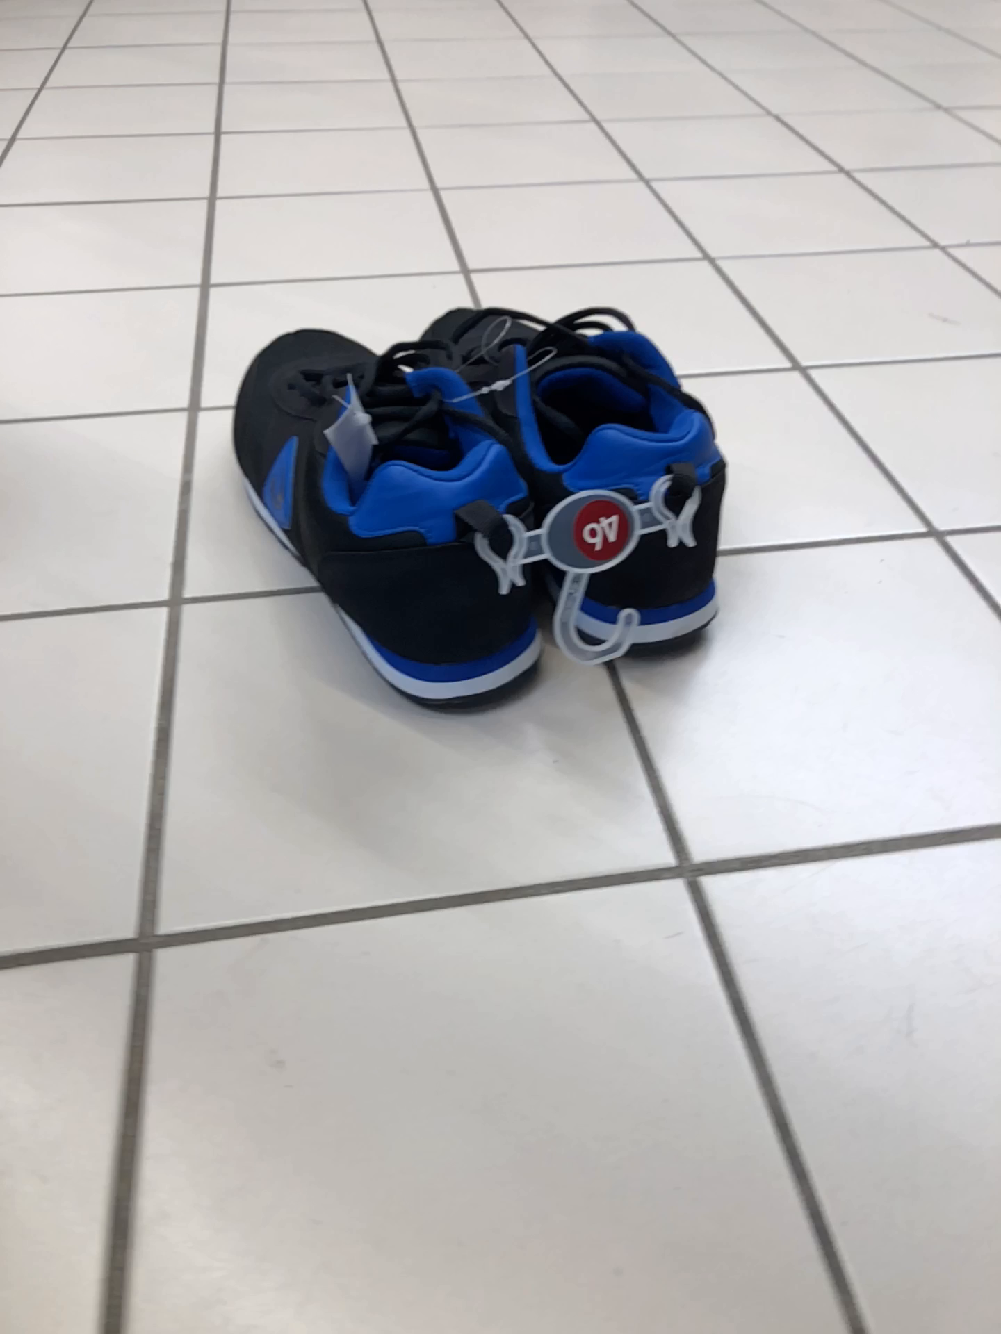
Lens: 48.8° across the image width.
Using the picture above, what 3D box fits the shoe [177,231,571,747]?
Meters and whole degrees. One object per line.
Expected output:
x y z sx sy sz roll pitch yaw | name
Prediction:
-0.075 -0.107 0.547 0.100 0.109 0.291 -15 43 -17 | shoe

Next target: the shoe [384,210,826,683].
0.034 -0.134 0.583 0.100 0.109 0.291 -15 43 -17 | shoe
